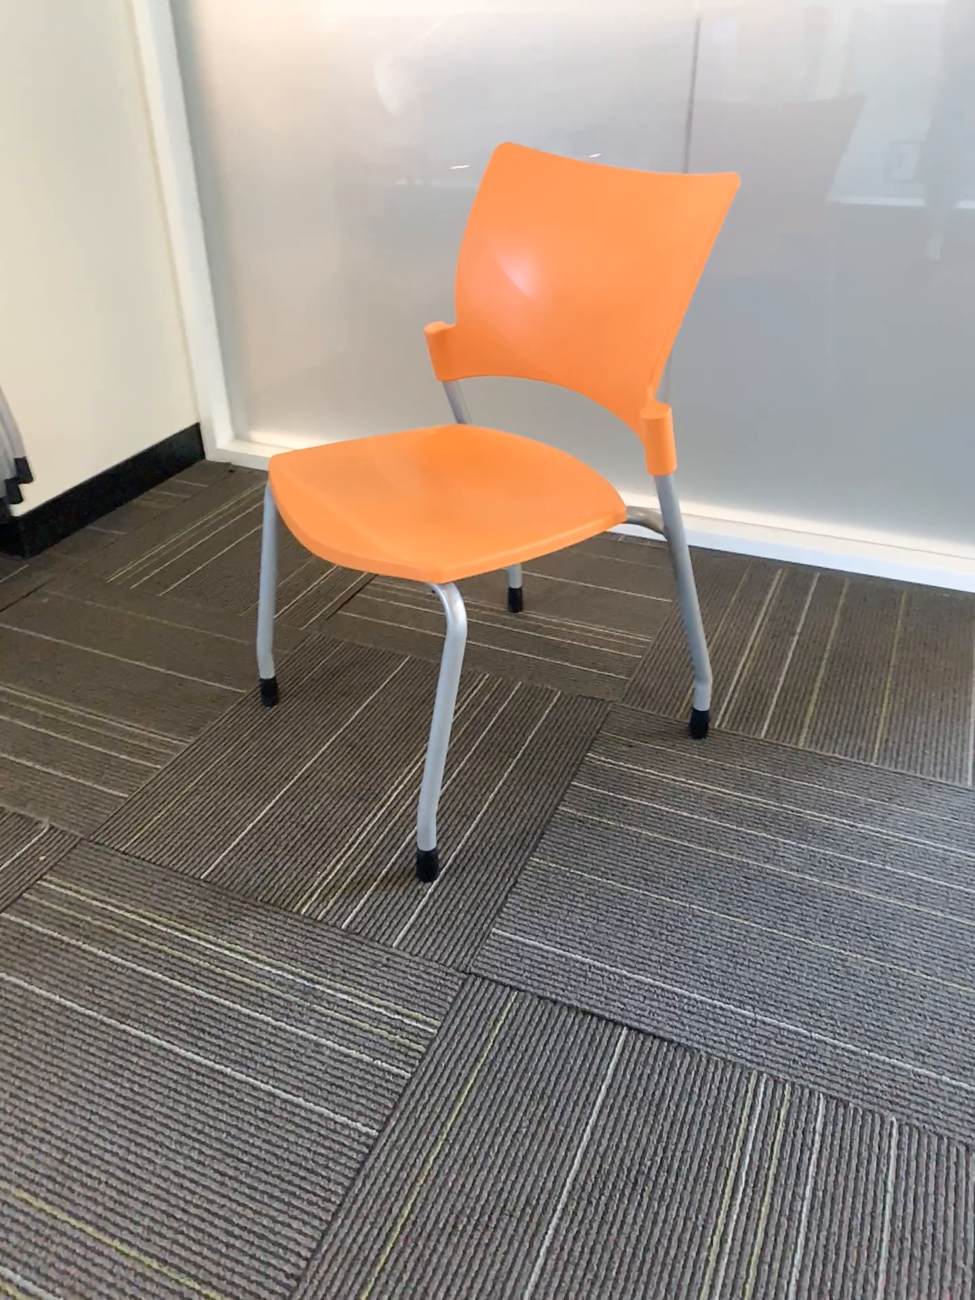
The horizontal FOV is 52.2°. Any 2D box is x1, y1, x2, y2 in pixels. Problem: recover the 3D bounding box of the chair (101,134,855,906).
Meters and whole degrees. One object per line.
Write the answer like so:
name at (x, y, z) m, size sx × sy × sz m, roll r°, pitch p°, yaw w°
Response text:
chair at (-0.032, -0.266, 1.468) m, size 0.681 × 0.795 × 0.683 m, roll -22°, pitch 38°, yaw -31°
